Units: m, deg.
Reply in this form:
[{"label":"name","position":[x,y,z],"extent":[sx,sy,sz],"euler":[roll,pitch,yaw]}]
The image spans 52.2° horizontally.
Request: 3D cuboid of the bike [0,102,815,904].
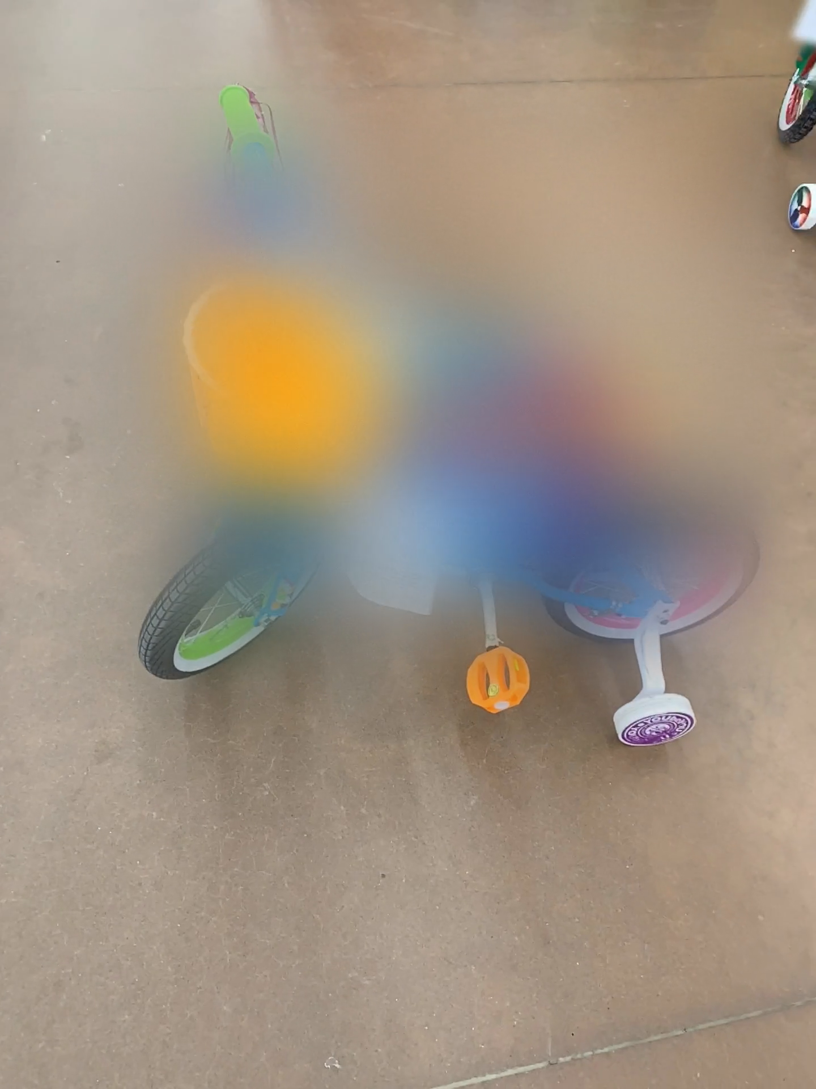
[{"label":"bike","position":[0.089,-0.032,0.981],"extent":[0.833,0.666,0.523],"euler":[-5,51,-7]}]
